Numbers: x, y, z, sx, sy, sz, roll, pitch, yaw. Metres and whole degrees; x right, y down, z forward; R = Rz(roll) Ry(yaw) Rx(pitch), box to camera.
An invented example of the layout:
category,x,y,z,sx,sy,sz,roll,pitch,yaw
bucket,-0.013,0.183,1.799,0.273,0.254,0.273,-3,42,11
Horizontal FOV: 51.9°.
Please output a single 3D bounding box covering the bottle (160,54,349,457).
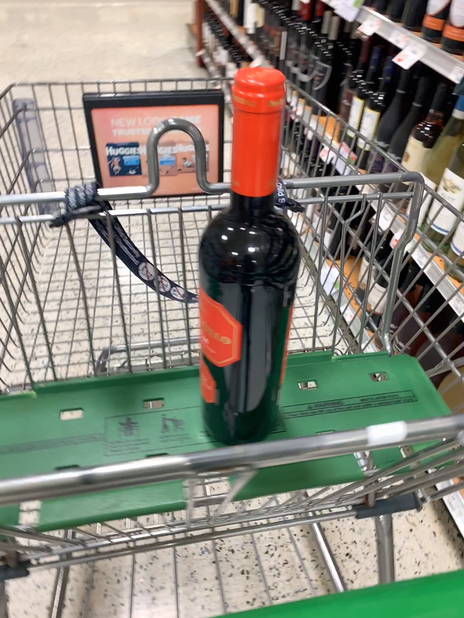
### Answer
category,x,y,z,sx,sy,sz,roll,pitch,yaw
bottle,0.004,-0.014,0.355,0.080,0.297,0.081,1,42,-1
